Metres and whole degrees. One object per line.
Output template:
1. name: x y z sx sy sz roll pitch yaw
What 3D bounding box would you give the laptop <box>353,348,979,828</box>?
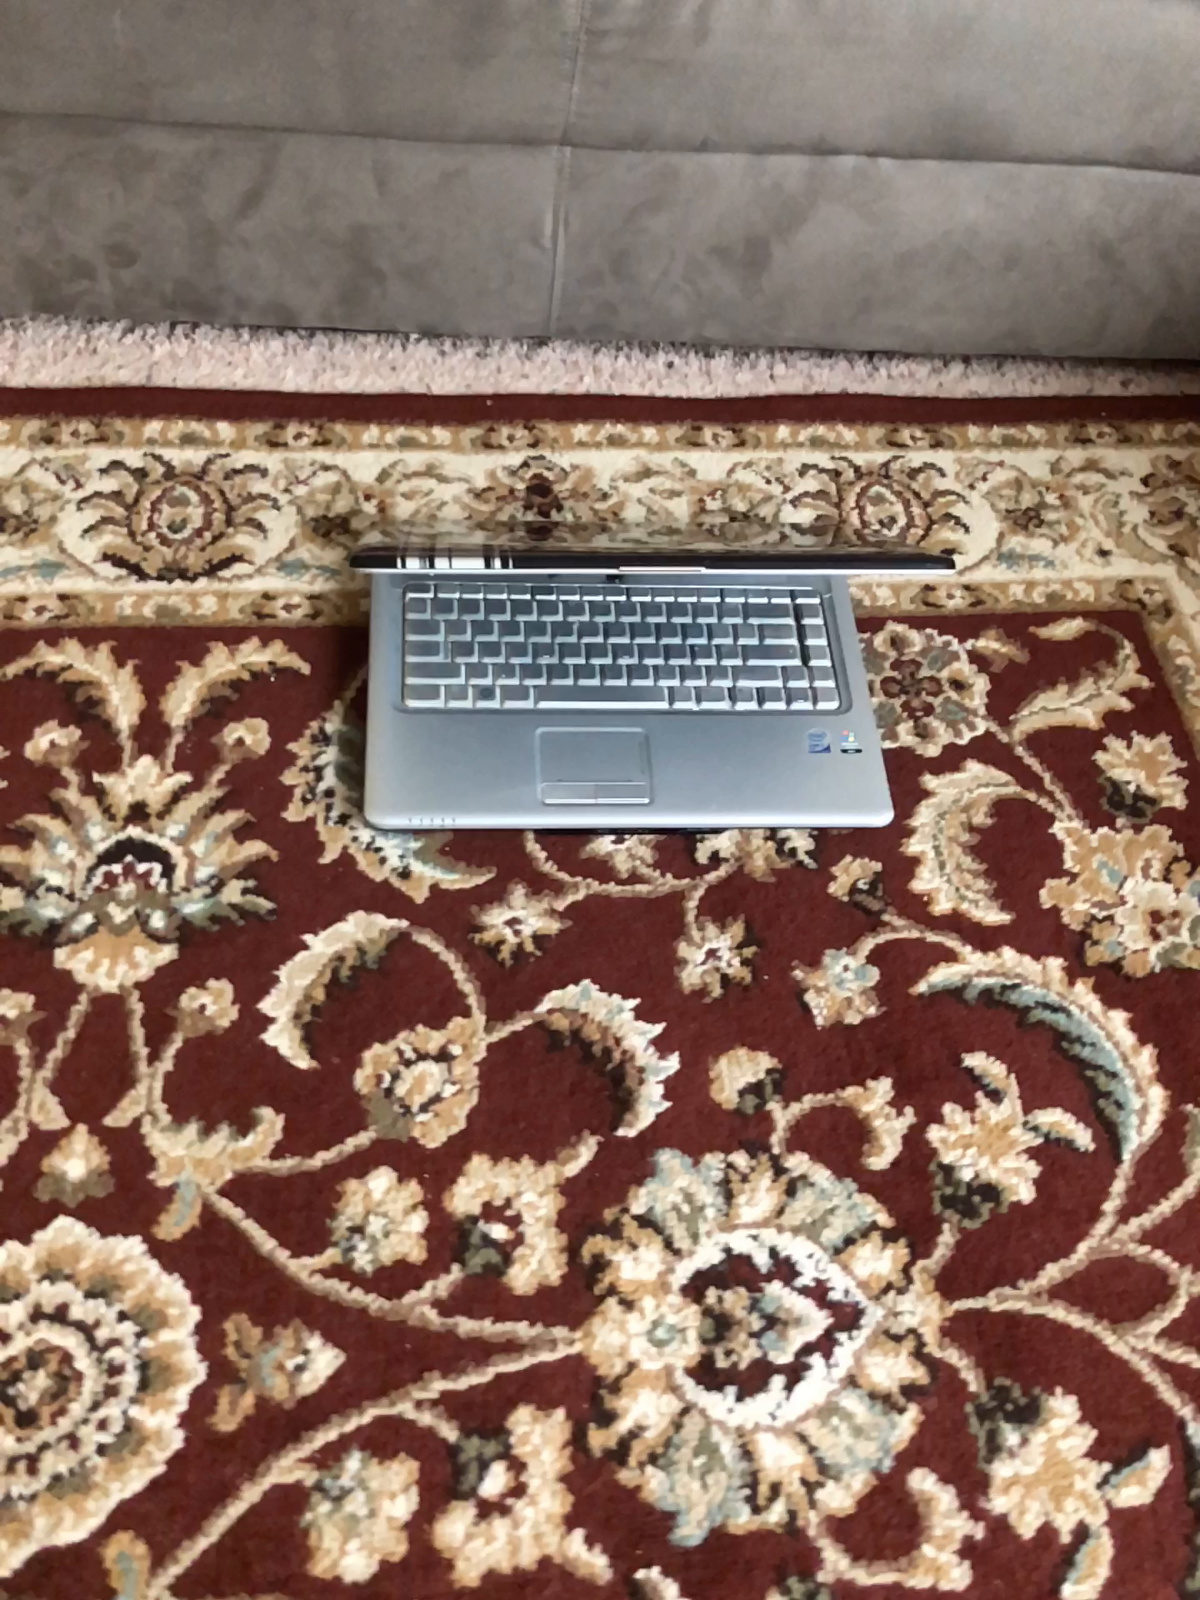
1. laptop: 0.025 -0.134 0.843 0.342 0.164 0.244 -1 57 -7
